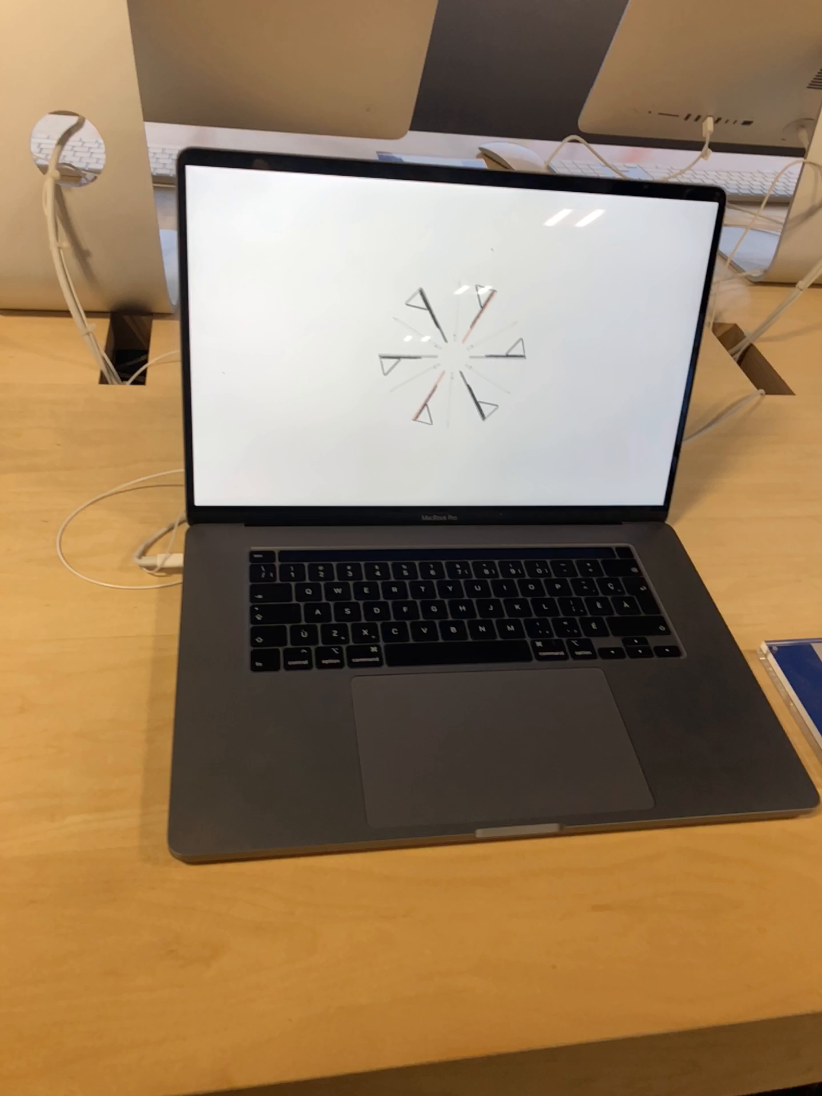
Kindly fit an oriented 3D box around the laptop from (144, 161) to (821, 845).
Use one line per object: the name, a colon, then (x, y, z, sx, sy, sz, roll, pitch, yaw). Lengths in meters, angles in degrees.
laptop: (0.046, -0.041, 0.528, 0.352, 0.230, 0.316, -1, 41, -11)
